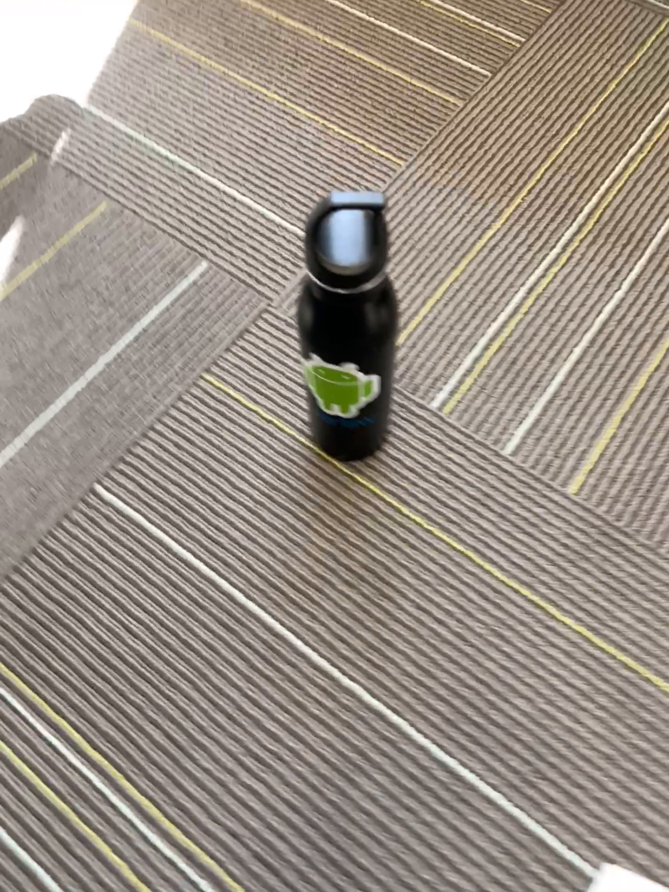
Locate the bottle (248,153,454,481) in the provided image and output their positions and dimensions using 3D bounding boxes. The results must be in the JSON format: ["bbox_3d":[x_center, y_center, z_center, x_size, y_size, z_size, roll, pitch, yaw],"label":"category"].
[{"bbox_3d":[0.013,-0.067,0.467,0.090,0.240,0.080,13,66,7],"label":"bottle"}]
